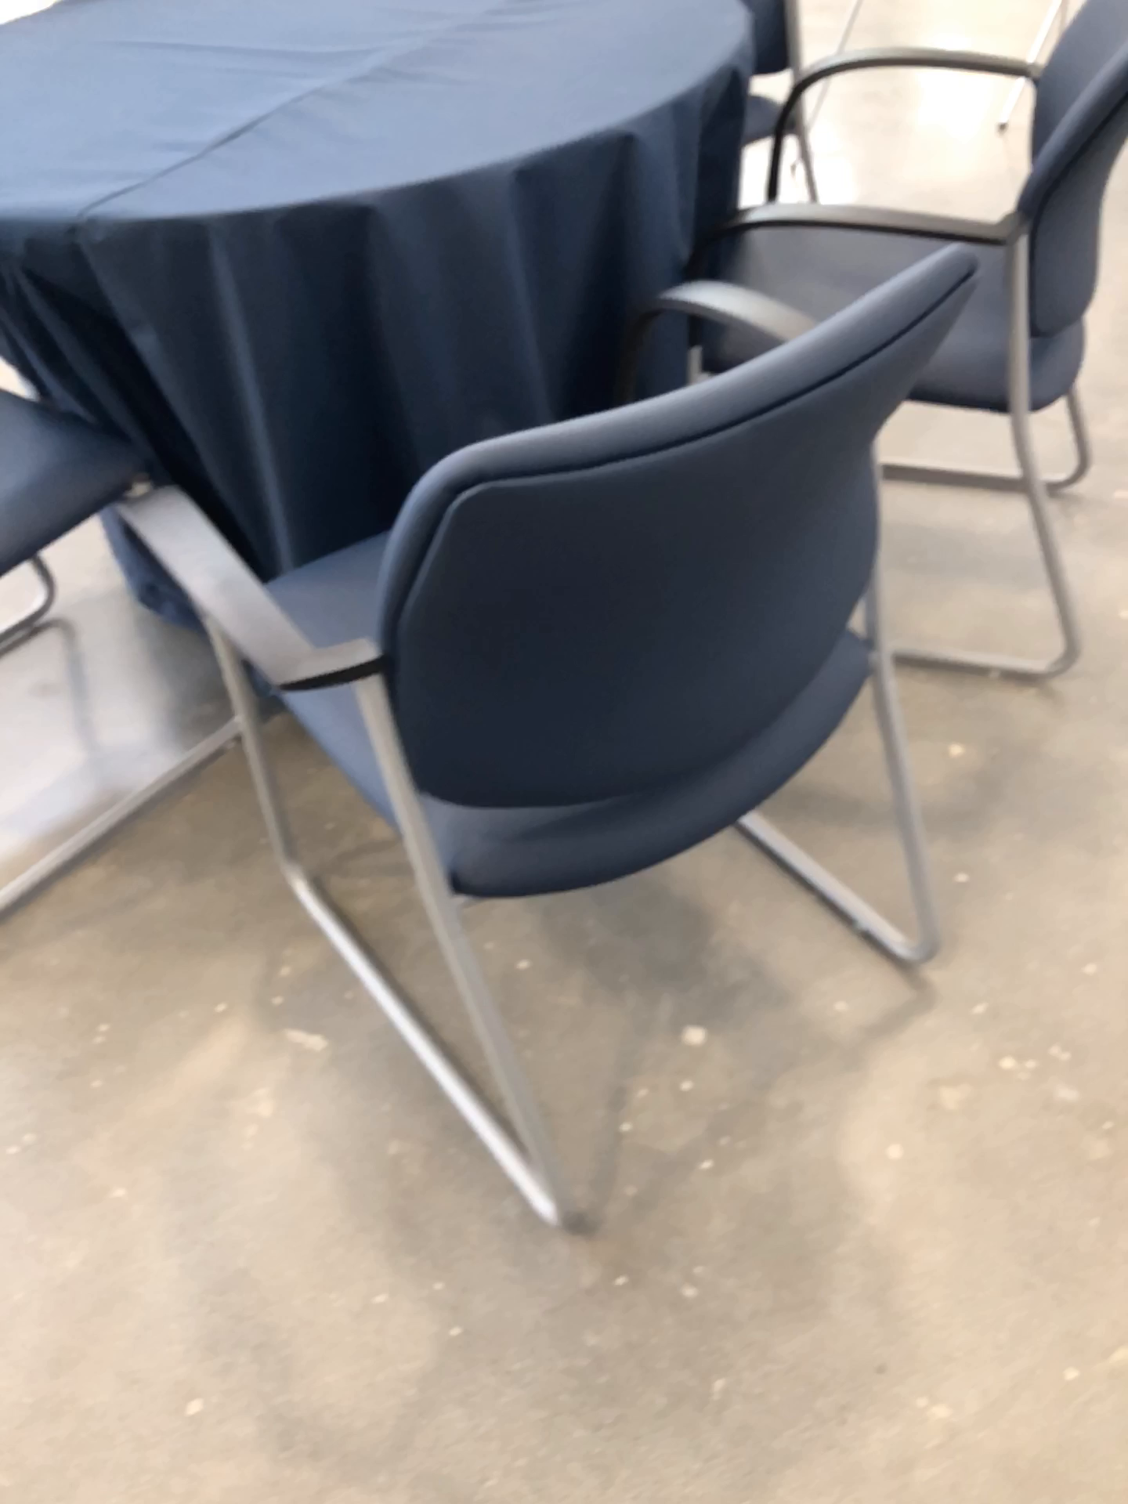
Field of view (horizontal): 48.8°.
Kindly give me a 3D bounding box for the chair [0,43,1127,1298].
[{"bbox_3d":[-0.016,-0.112,1.177,0.641,0.764,0.674,-29,48,-23],"label":"chair"}]
